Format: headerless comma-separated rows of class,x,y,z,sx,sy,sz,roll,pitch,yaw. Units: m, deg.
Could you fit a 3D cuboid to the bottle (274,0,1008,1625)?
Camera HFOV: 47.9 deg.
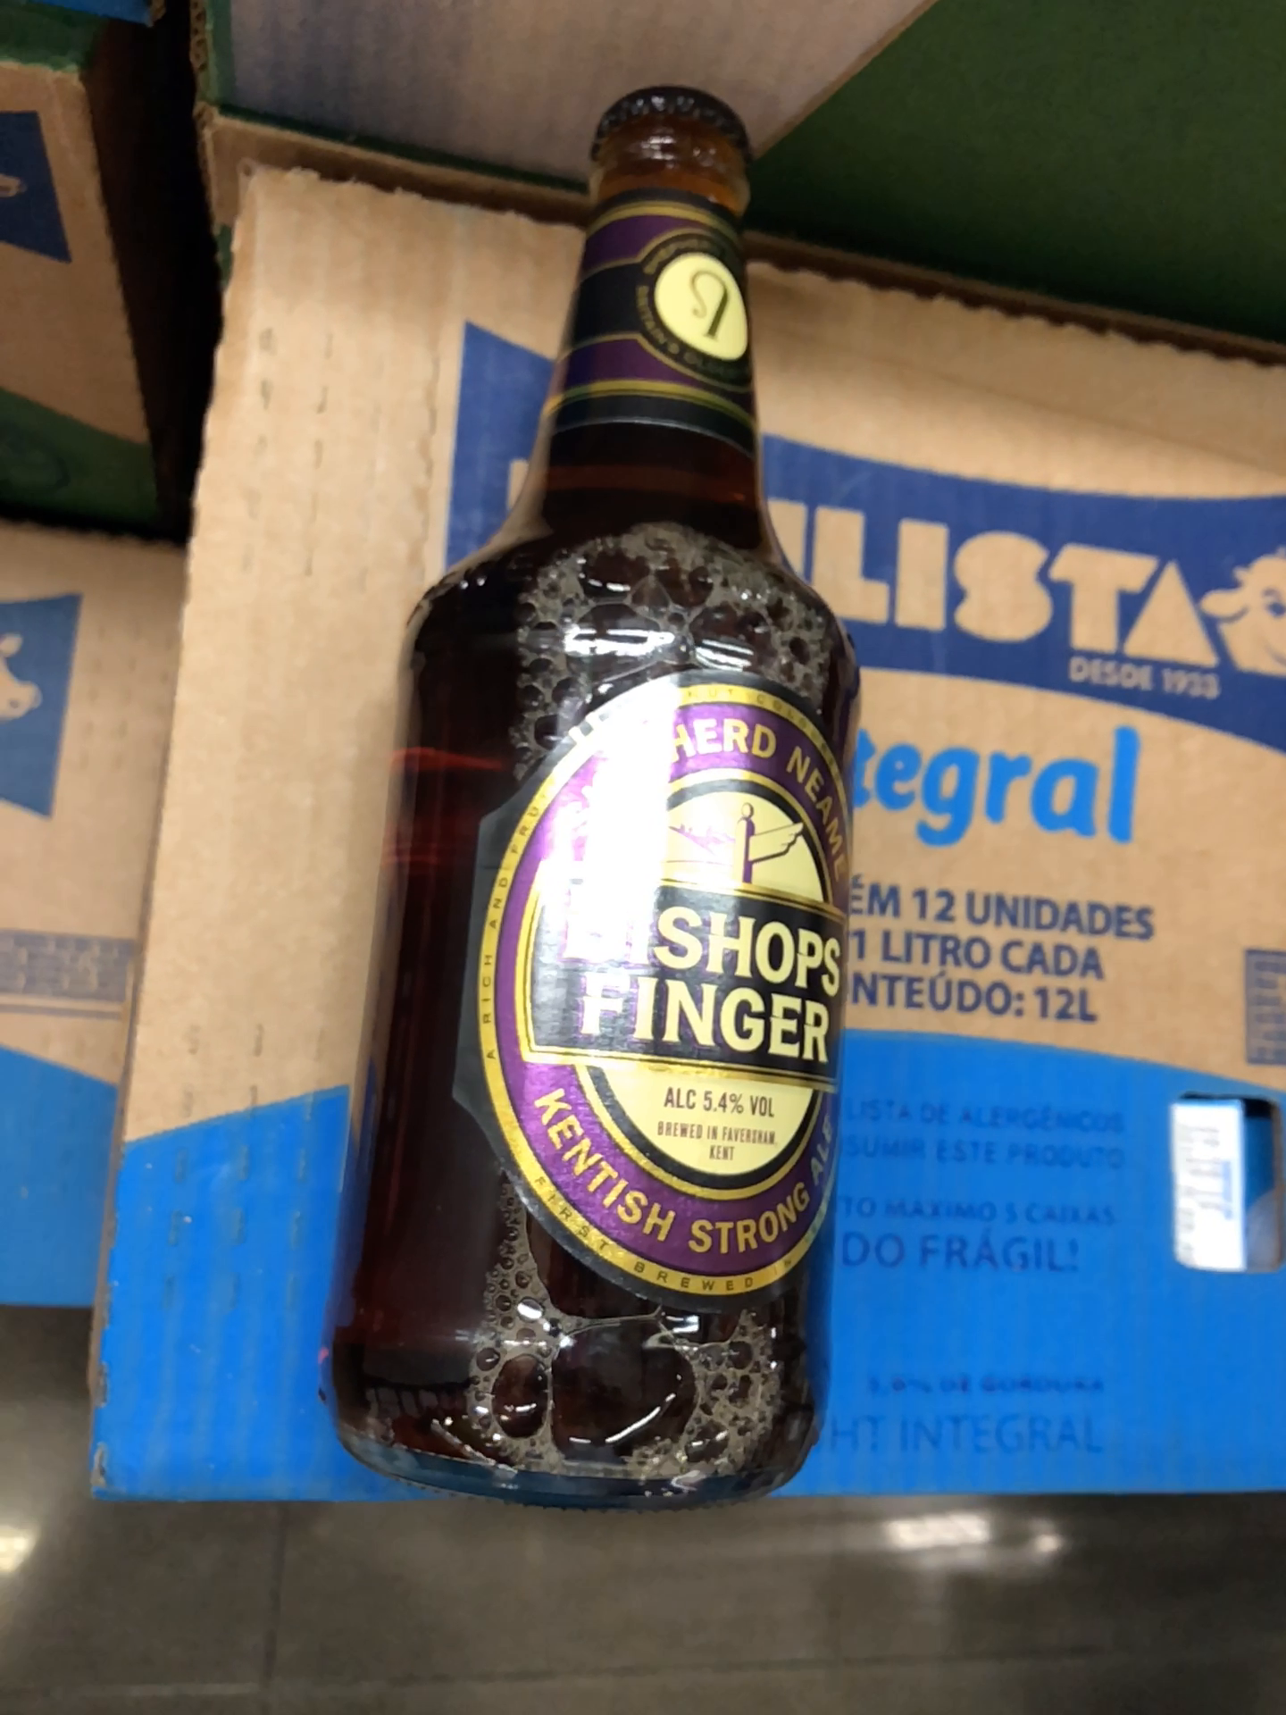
bottle,0.000,-0.032,0.219,0.080,0.070,0.250,7,78,-14
